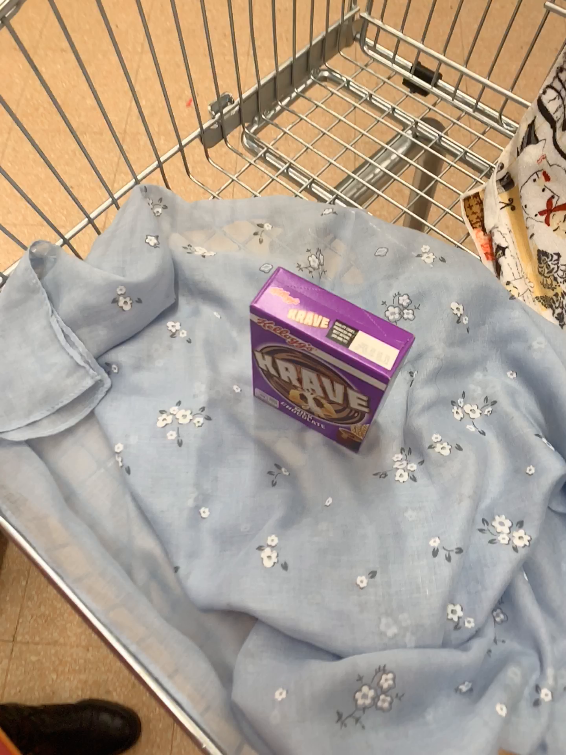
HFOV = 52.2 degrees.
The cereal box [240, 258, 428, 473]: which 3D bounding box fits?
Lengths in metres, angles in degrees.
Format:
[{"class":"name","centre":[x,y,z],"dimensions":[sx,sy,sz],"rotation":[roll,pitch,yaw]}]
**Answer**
[{"class":"cereal box","centre":[0.024,0.000,0.357],"dimensions":[0.090,0.129,0.040],"rotation":[29,66,12]}]
